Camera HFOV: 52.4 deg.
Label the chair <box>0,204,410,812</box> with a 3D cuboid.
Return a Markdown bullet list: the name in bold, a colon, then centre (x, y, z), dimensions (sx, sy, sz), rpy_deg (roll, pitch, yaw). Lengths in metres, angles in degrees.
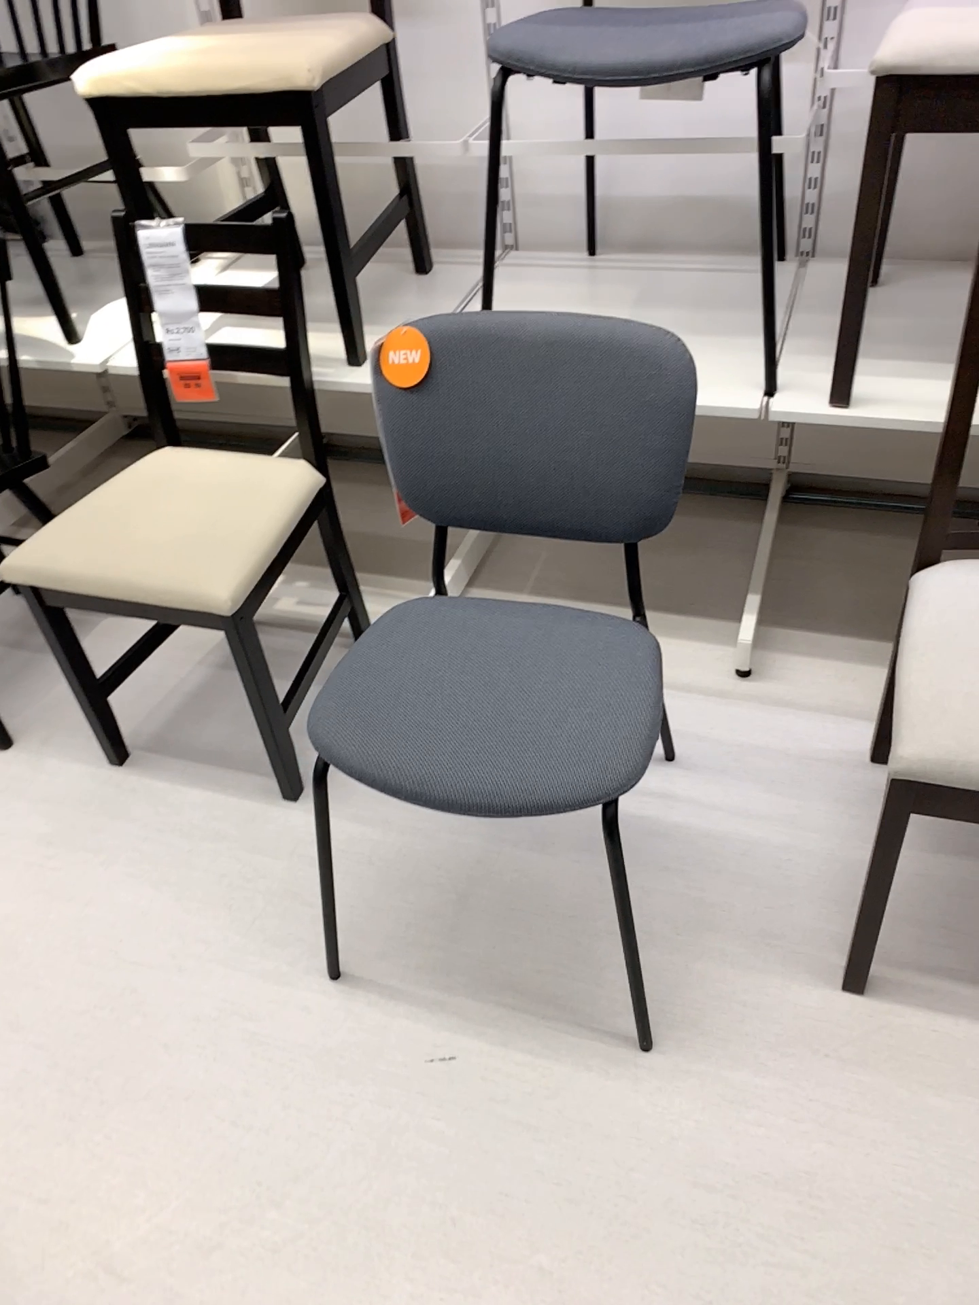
- **chair**: centre (-0.511, -0.238, 1.665), dimensions (0.481, 0.807, 0.532), rpy_deg (8, 43, 17)

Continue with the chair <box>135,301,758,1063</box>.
- **chair**: centre (0.032, 0.027, 1.329), dimensions (0.521, 0.757, 0.592), rpy_deg (7, 43, 16)

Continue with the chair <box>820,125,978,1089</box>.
- **chair**: centre (0.705, -0.022, 1.153), dimensions (0.480, 0.926, 0.532), rpy_deg (7, 43, 16)
